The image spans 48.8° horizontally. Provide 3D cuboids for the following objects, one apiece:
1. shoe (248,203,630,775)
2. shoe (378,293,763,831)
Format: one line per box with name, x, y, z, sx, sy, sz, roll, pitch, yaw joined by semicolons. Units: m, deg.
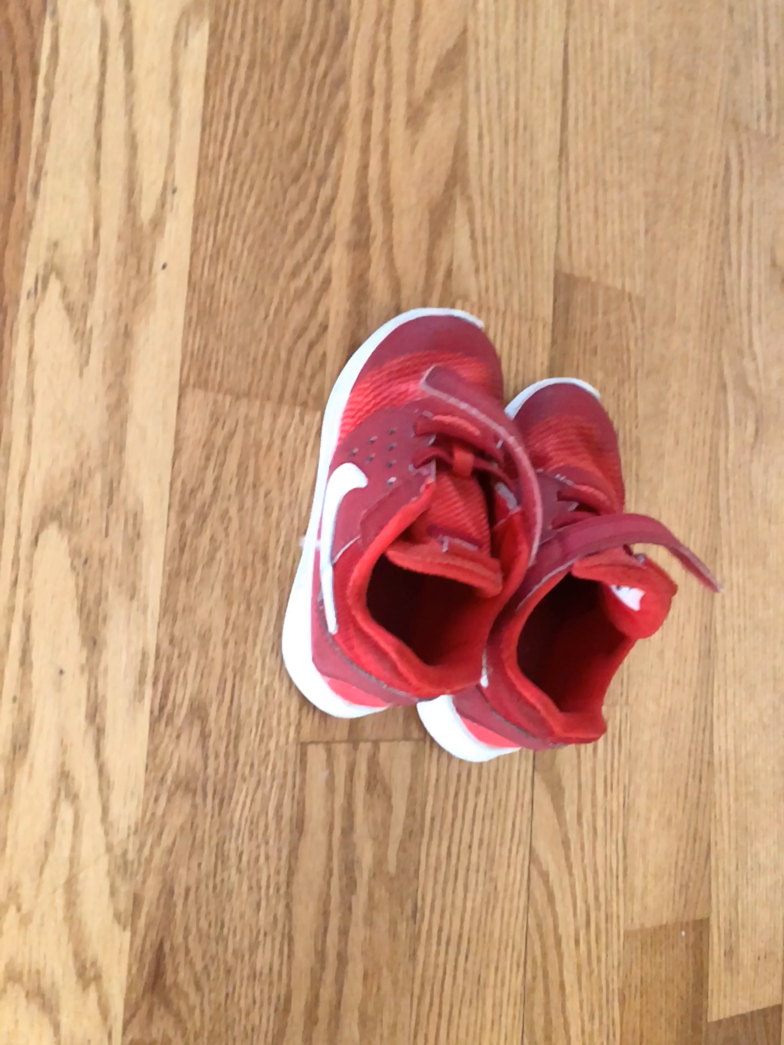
shoe;0.019;-0.009;0.318;0.081;0.069;0.175;19;77;-28
shoe;0.074;0.016;0.347;0.089;0.069;0.177;25;74;-26
